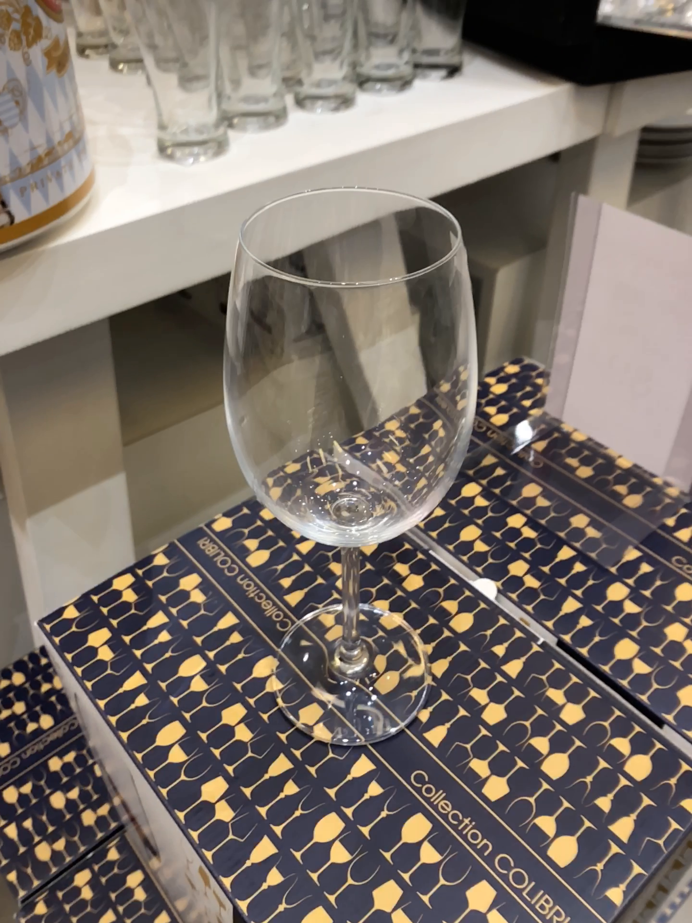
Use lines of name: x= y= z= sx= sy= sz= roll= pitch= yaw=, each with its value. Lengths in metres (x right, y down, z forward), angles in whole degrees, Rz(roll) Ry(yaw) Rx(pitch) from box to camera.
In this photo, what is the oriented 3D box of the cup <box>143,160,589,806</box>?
cup: x=0.004 y=0.017 z=0.286 sx=0.090 sy=0.209 sz=0.090 roll=0 pitch=41 yaw=0
